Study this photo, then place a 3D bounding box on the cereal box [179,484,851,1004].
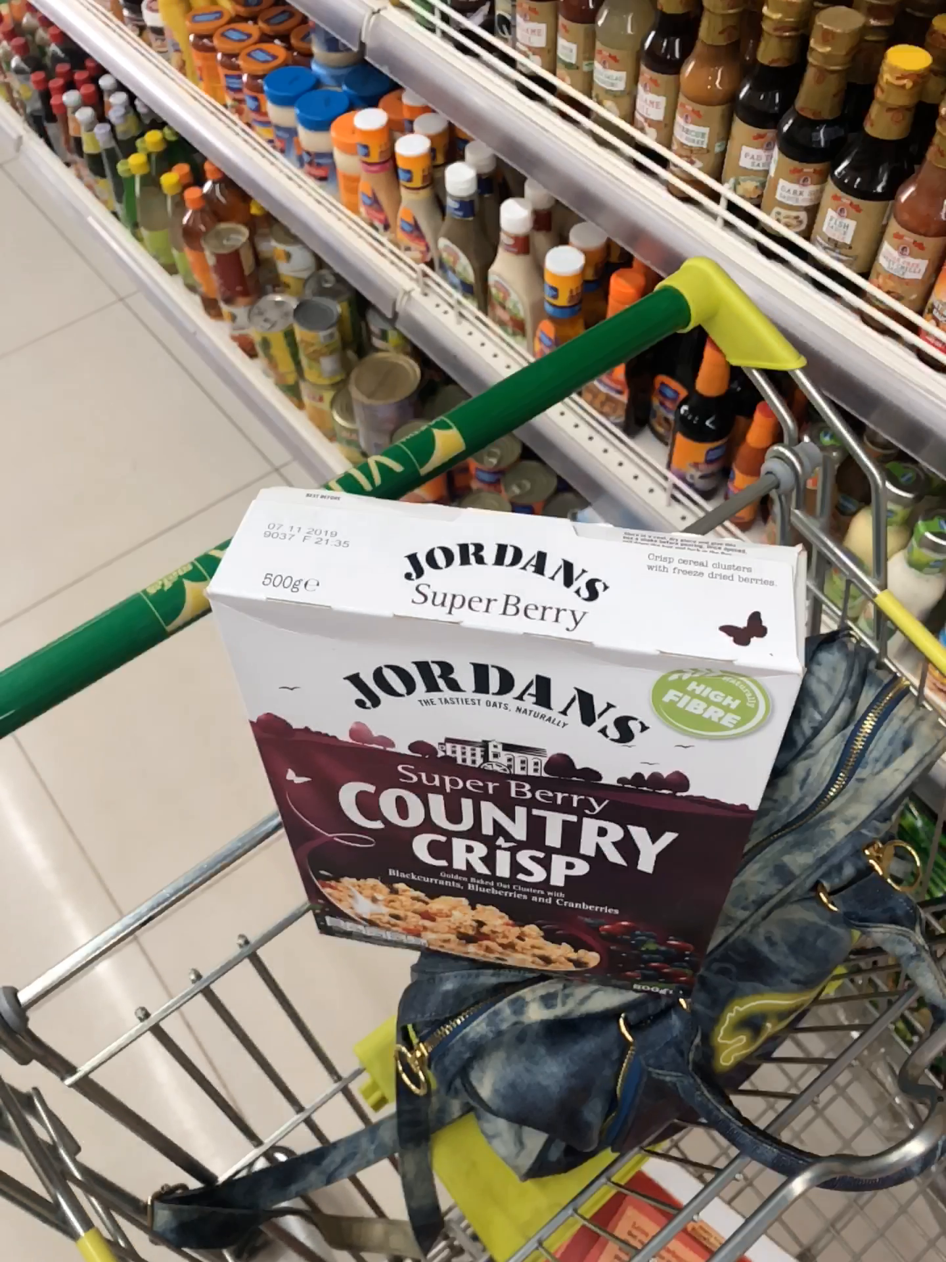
[{"bbox_3d":[0.013,0.057,0.384,0.180,0.230,0.050,6,51,6],"label":"cereal box"}]
